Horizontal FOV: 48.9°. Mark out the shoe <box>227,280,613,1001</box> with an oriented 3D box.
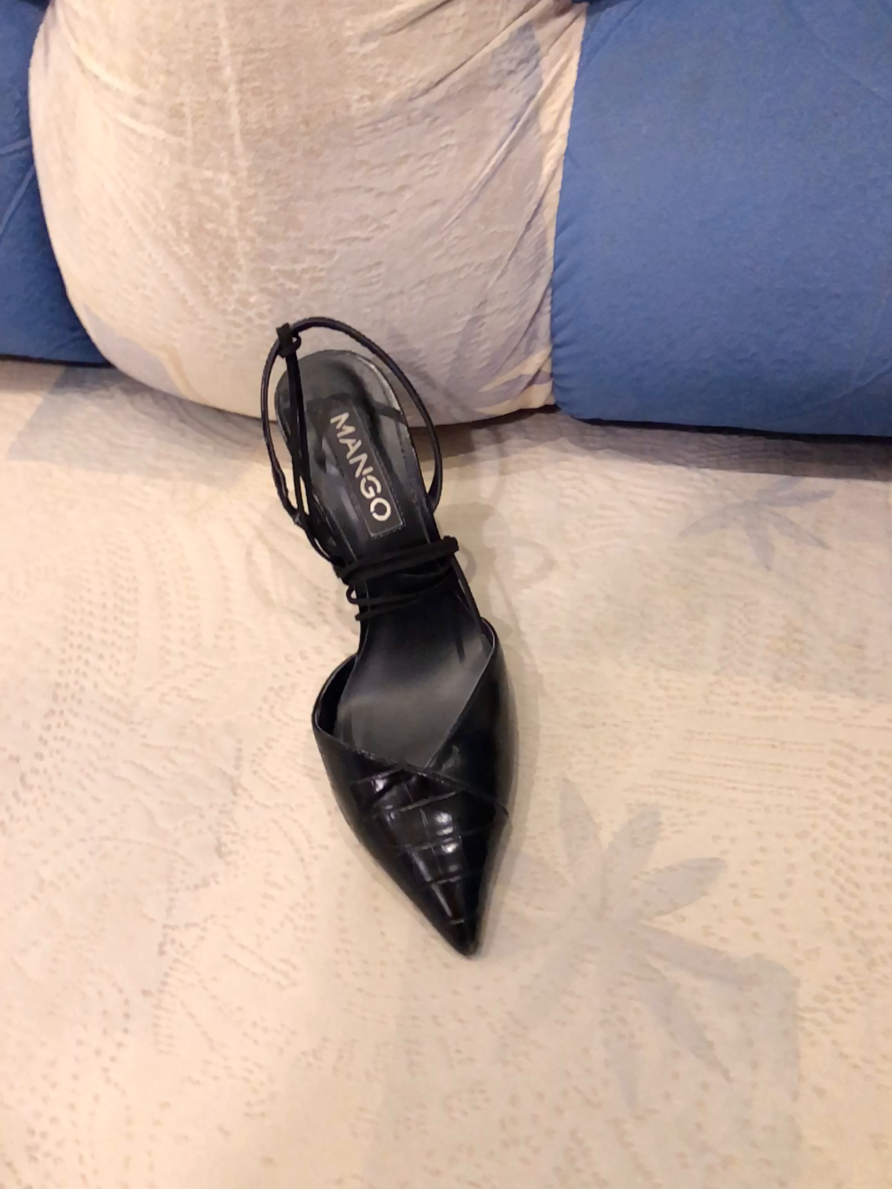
[{"bbox_3d":[-0.018,0.007,0.378,0.083,0.119,0.241,-13,52,-4],"label":"shoe"}]
